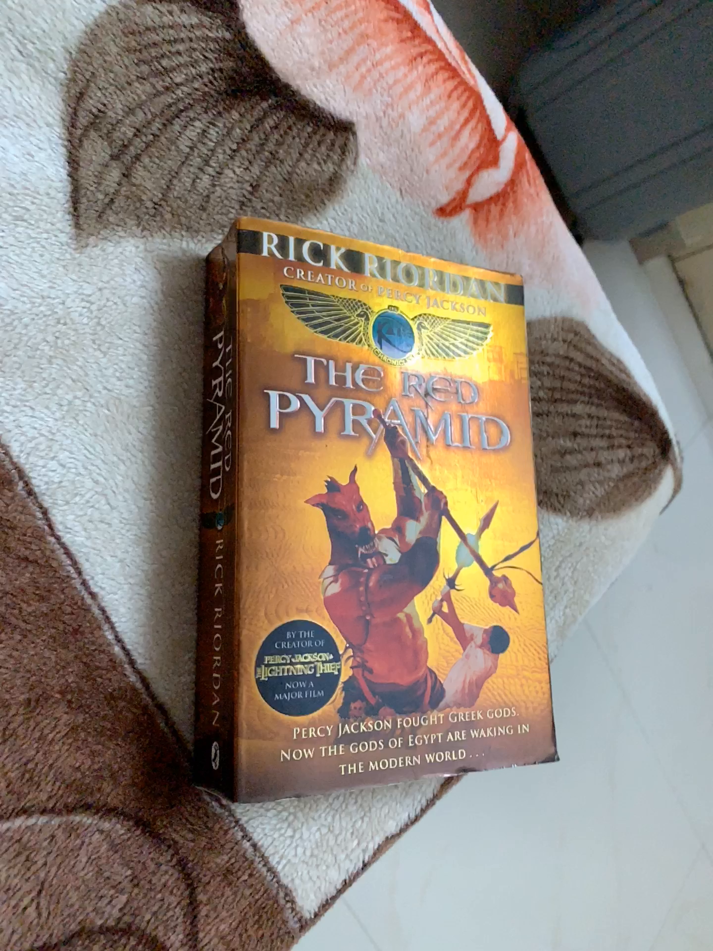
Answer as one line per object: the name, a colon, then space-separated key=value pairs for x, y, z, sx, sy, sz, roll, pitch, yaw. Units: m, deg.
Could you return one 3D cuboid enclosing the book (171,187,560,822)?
book: x=0.004 y=0.009 z=0.307 sx=0.151 sy=0.040 sz=0.220 roll=4 pitch=76 yaw=-30
